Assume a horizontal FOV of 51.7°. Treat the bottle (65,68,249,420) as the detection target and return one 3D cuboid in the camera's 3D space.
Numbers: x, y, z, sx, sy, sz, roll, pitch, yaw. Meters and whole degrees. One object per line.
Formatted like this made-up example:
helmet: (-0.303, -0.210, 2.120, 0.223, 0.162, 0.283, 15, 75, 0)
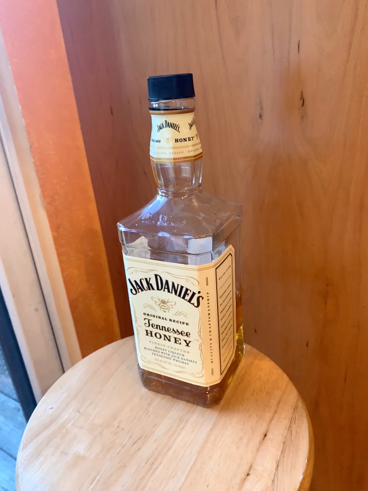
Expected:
bottle: (-0.009, 0.004, 0.394, 0.120, 0.328, 0.100, 6, 26, 25)
